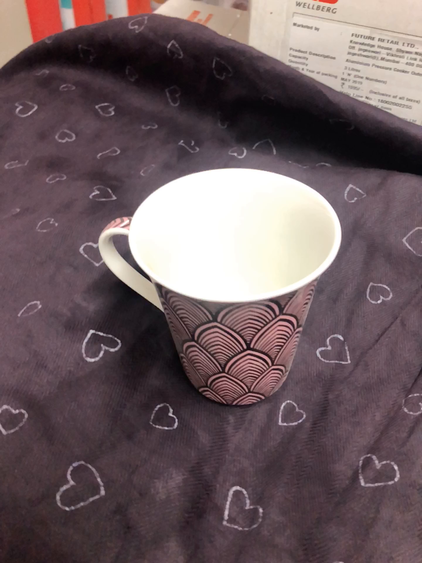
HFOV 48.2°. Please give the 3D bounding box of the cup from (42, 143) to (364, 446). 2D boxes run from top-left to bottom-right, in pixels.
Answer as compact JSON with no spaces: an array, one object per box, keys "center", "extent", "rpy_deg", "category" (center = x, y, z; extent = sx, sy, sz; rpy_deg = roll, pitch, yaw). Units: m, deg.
[{"center":[0.003,0.003,0.246],"extent":[0.120,0.099,0.090],"rpy_deg":[13,47,16],"category":"cup"}]
